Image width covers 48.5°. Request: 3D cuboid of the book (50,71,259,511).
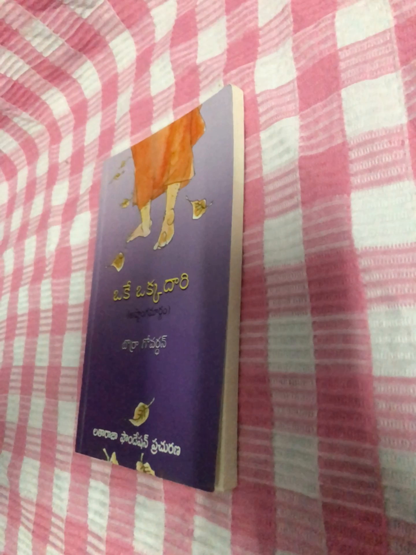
[{"bbox_3d":[-0.037,0.006,0.277,0.151,0.020,0.210,-10,72,45],"label":"book"}]
